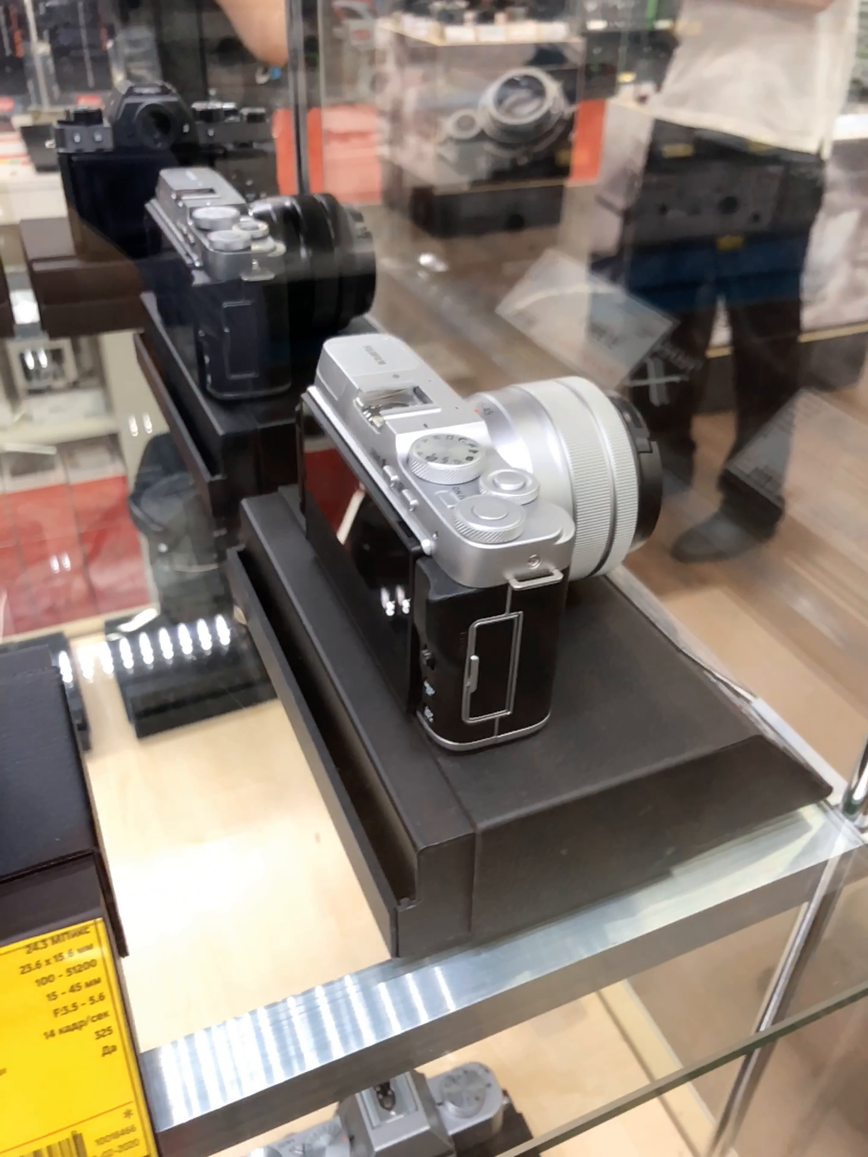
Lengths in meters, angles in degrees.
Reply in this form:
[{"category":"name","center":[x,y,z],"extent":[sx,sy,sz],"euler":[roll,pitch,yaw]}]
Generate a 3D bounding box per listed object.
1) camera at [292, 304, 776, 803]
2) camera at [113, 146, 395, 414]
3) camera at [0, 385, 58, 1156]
[{"category":"camera","center":[0.018,-0.017,0.289],"extent":[0.084,0.080,0.126],"euler":[-12,38,-19]},{"category":"camera","center":[-0.085,-0.144,0.452],"extent":[0.096,0.080,0.115],"euler":[-13,38,-20]},{"category":"camera","center":[-0.146,0.028,0.184],"extent":[0.115,0.080,0.097],"euler":[-14,38,-21]}]
